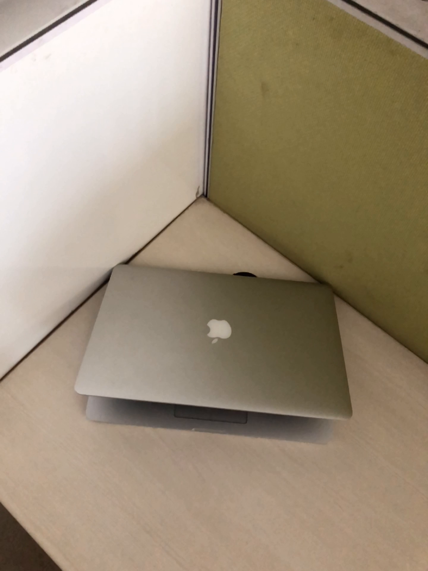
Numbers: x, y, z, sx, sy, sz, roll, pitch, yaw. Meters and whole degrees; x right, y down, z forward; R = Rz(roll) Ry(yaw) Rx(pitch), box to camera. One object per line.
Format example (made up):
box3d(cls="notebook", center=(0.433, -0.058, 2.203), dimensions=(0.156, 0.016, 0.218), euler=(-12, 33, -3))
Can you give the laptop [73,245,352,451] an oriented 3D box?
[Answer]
box3d(cls="laptop", center=(0.007, 0.085, 0.666), dimensions=(0.343, 0.083, 0.244), euler=(6, 65, 0))
